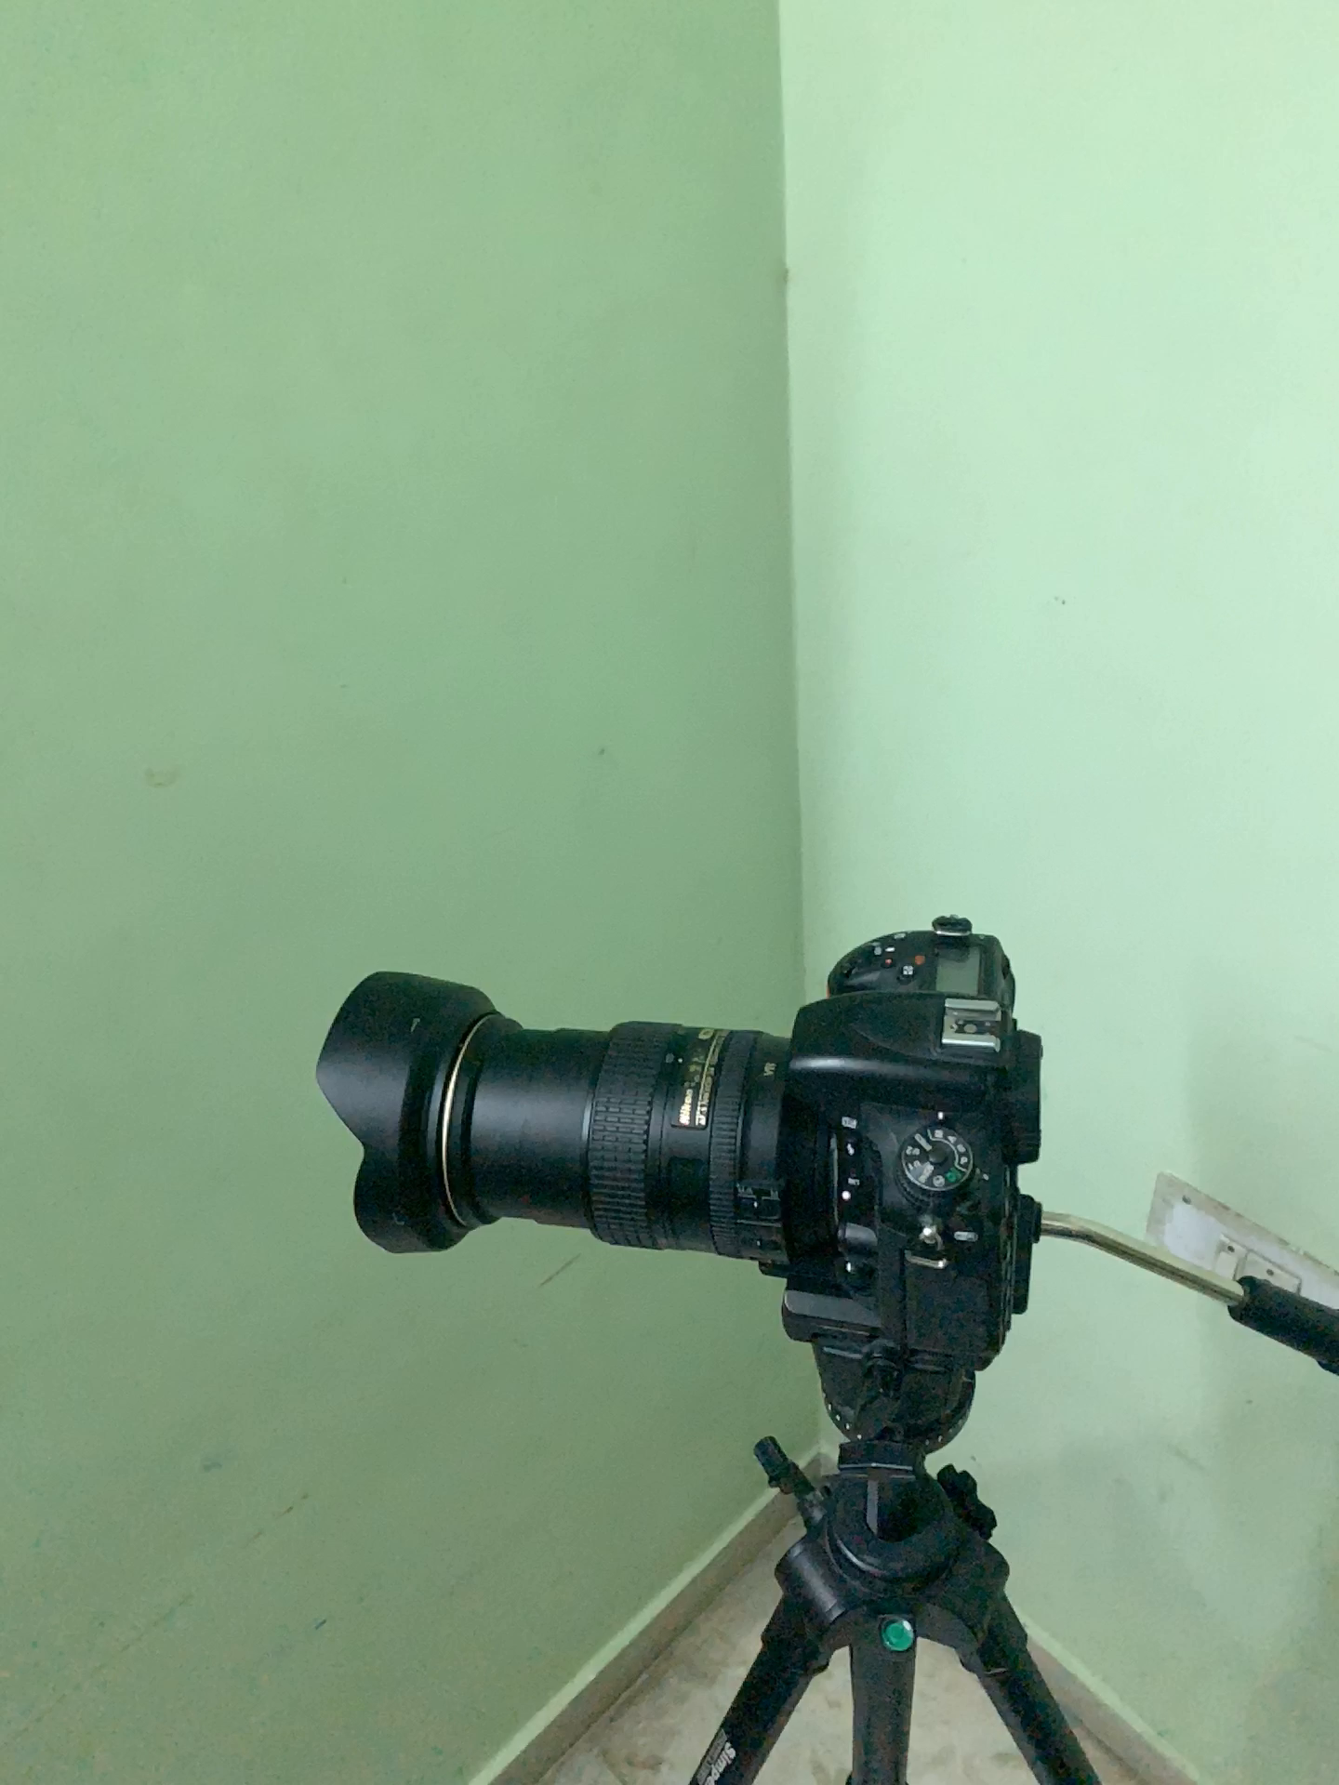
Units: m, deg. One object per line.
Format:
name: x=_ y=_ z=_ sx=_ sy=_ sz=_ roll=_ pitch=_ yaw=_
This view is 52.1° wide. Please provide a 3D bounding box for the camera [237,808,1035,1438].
camera: x=0.003 y=0.077 z=0.523 sx=0.250 sy=0.131 sz=0.164 roll=5 pitch=40 yaw=13
